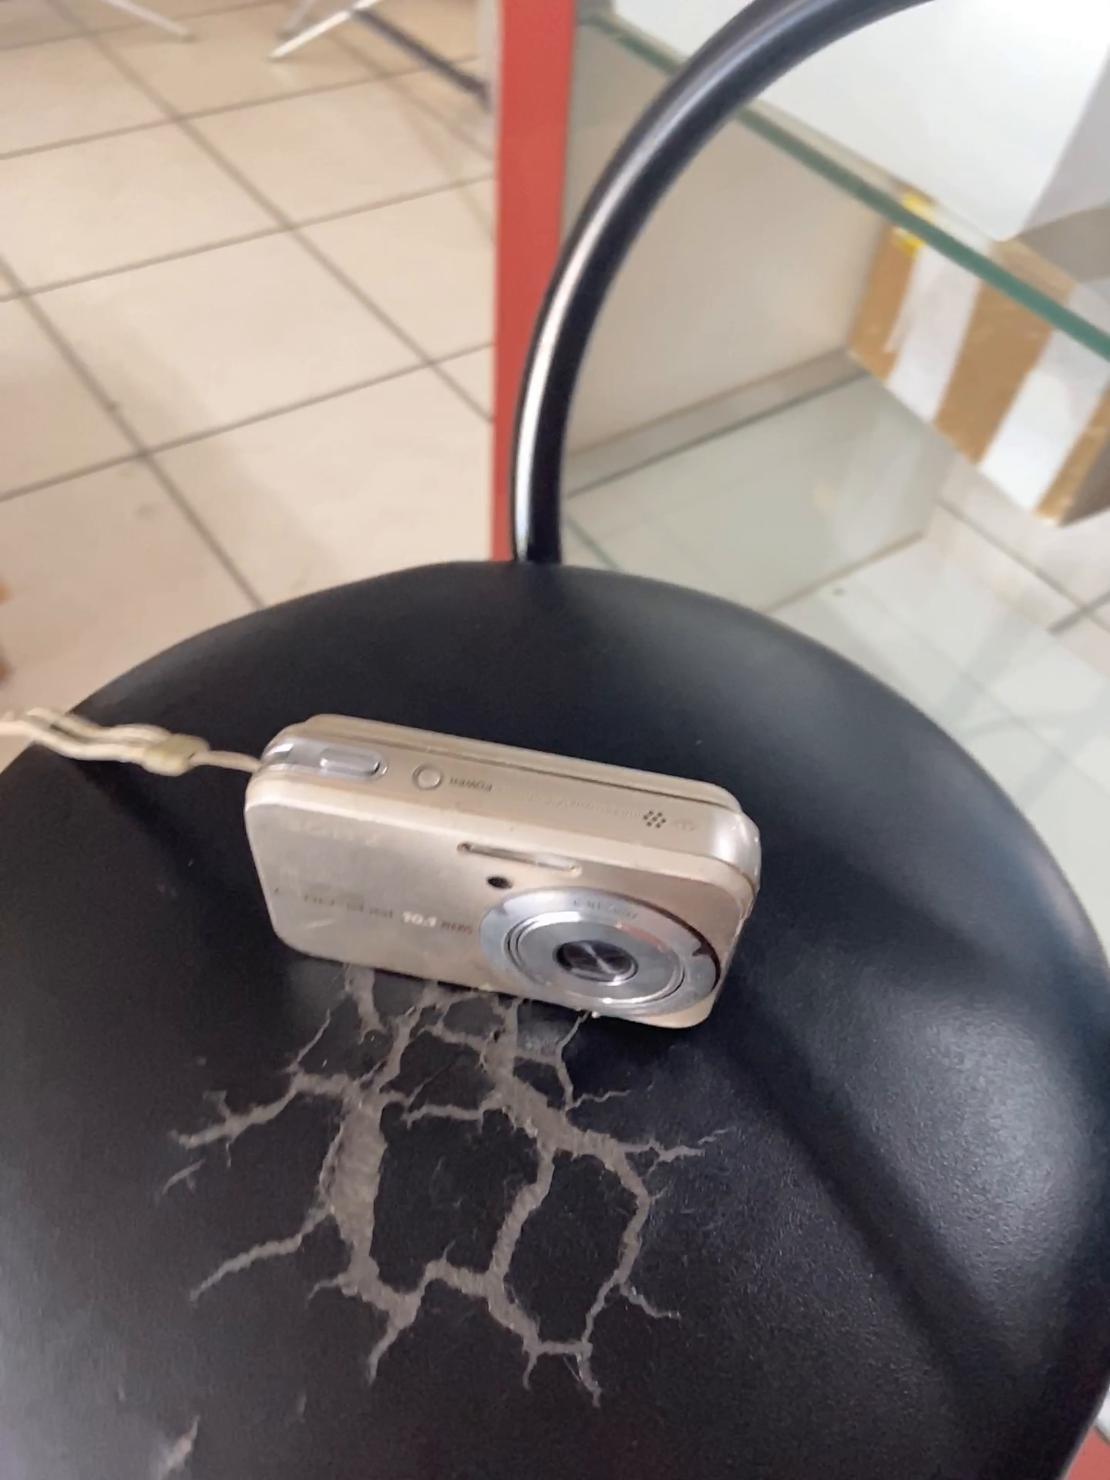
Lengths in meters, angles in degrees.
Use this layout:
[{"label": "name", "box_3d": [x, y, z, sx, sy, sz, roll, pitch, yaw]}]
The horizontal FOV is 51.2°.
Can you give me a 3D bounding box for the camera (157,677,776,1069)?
[{"label": "camera", "box_3d": [-0.017, 0.029, 0.237, 0.110, 0.060, 0.030, 12, 50, 4]}]
